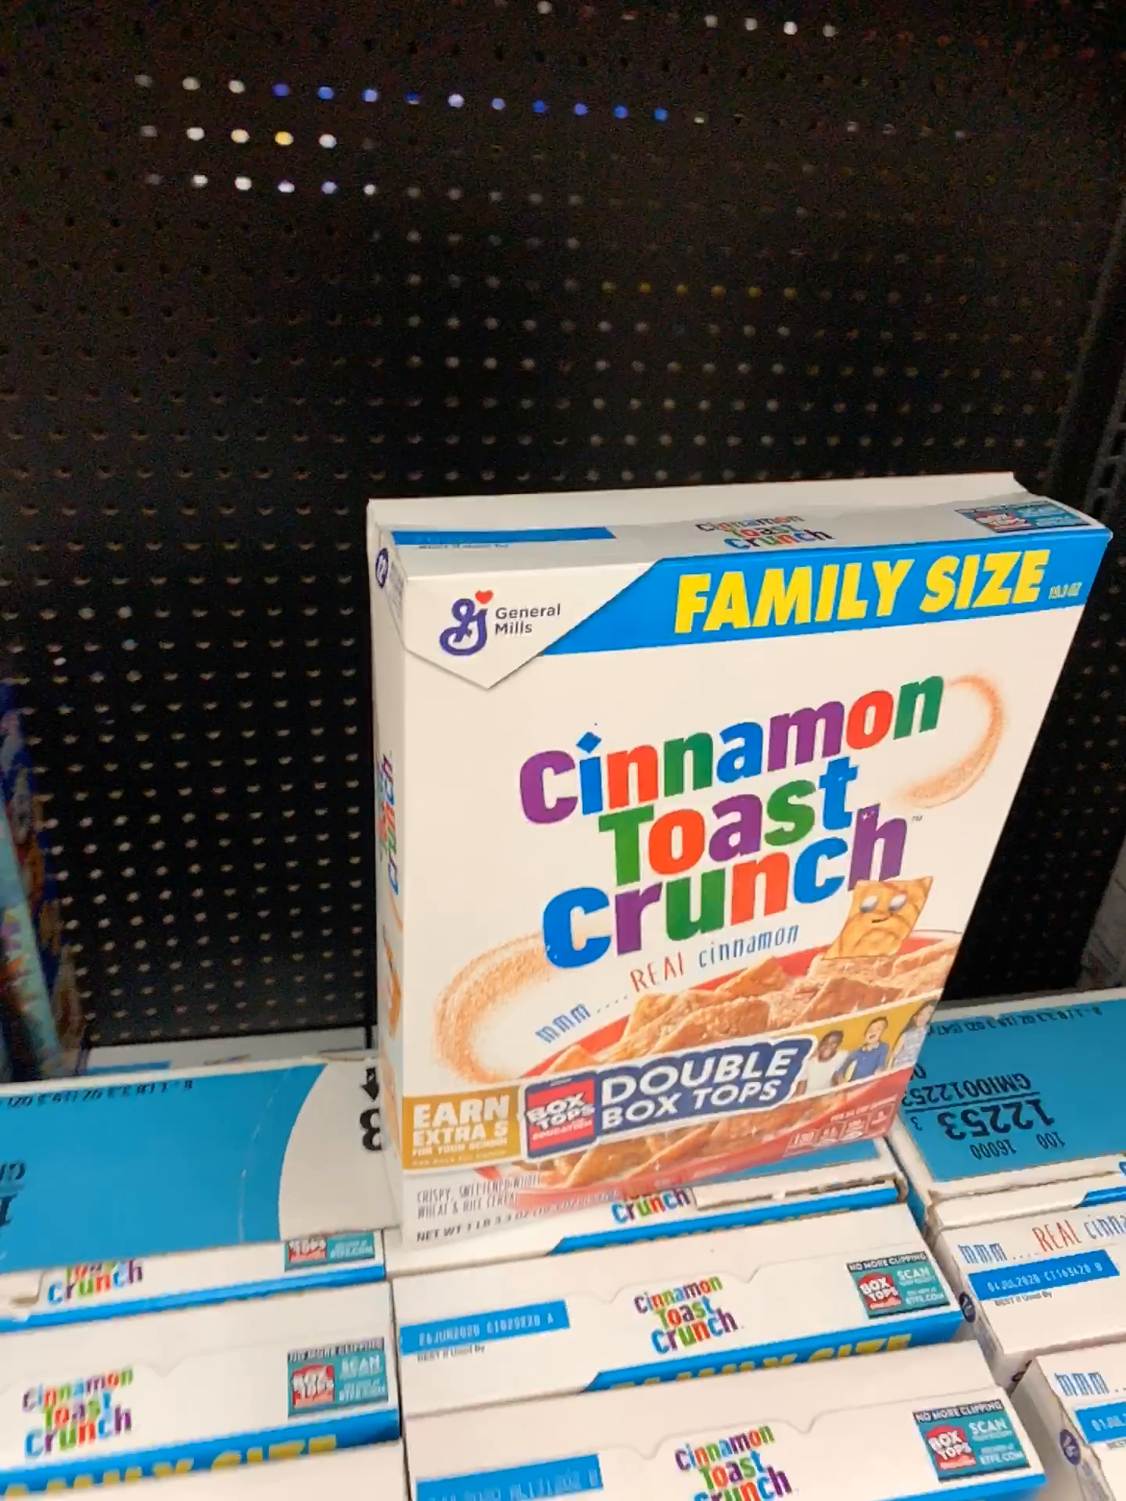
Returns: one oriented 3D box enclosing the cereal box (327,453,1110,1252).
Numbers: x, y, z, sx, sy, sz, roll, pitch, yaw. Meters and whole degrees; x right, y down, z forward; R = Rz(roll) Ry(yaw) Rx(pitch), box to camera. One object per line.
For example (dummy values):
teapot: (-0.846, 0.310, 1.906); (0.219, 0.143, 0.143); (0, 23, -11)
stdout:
cereal box: (0.042, 0.047, 0.443); (0.240, 0.298, 0.060); (-6, 34, -16)
